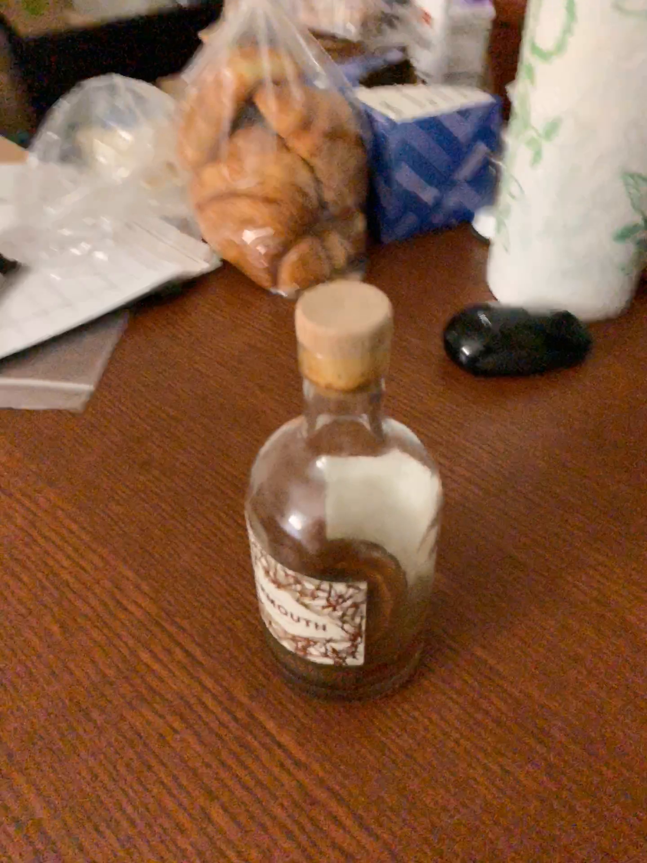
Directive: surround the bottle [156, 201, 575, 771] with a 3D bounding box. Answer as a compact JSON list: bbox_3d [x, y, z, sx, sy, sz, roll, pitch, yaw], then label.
[{"bbox_3d":[0.013,0.029,0.254,0.090,0.189,0.080,31,51,31],"label":"bottle"}]
